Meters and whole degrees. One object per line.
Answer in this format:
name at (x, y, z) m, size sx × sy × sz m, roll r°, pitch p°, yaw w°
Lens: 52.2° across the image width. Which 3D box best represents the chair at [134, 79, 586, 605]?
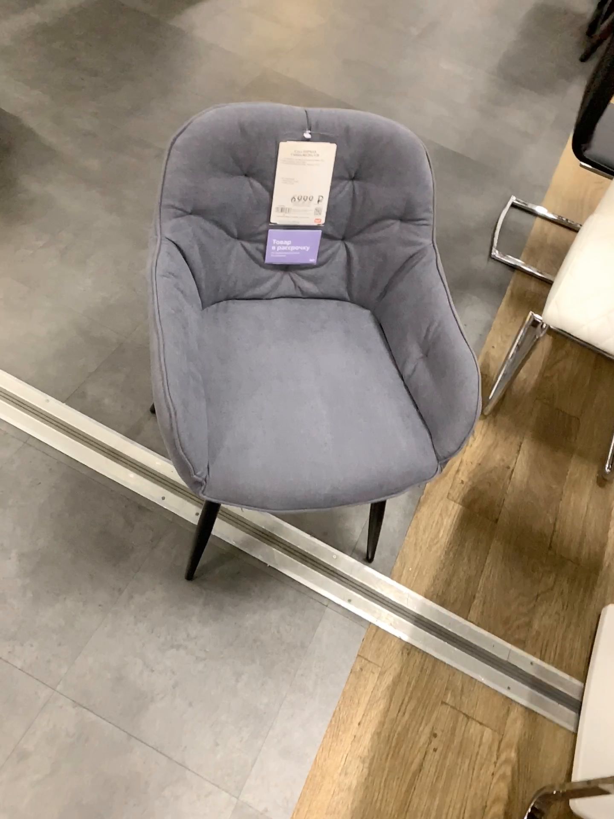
chair at (-0.032, -0.068, 1.217) m, size 0.561 × 0.776 × 0.592 m, roll -1°, pitch 55°, yaw -15°
